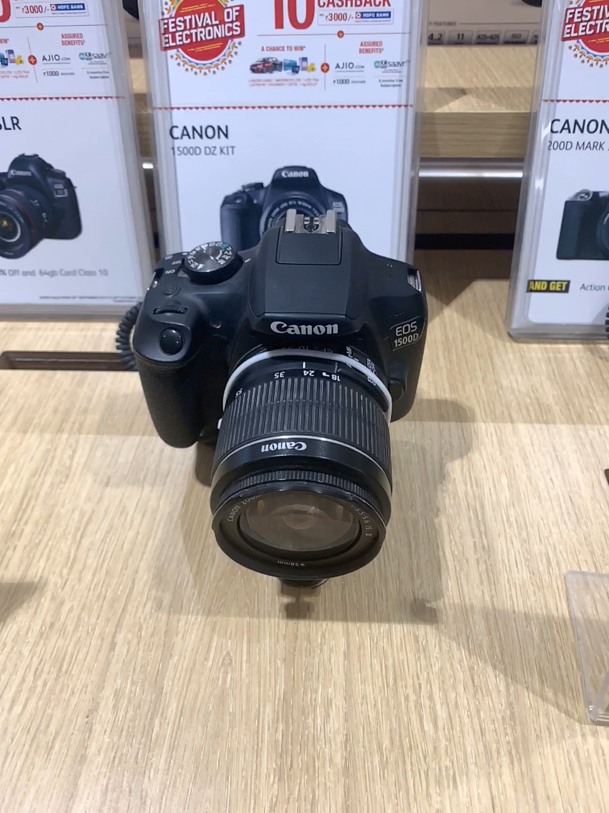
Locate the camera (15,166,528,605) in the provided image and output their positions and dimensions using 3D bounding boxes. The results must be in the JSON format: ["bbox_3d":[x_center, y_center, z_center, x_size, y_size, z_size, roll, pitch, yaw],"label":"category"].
[{"bbox_3d":[-0.007,-0.016,0.265,0.140,0.100,0.160,0,44,2],"label":"camera"}]
